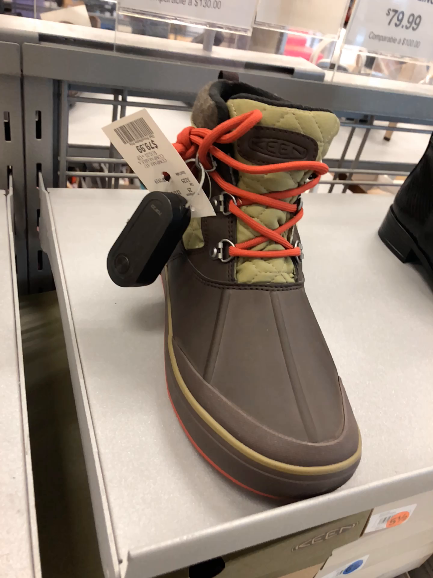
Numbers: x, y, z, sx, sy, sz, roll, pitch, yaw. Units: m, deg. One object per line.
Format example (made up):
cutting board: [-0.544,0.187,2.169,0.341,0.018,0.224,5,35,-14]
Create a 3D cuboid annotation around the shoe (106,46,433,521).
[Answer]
shoe: [0.013,-0.032,0.293,0.107,0.139,0.262,-2,39,-23]
